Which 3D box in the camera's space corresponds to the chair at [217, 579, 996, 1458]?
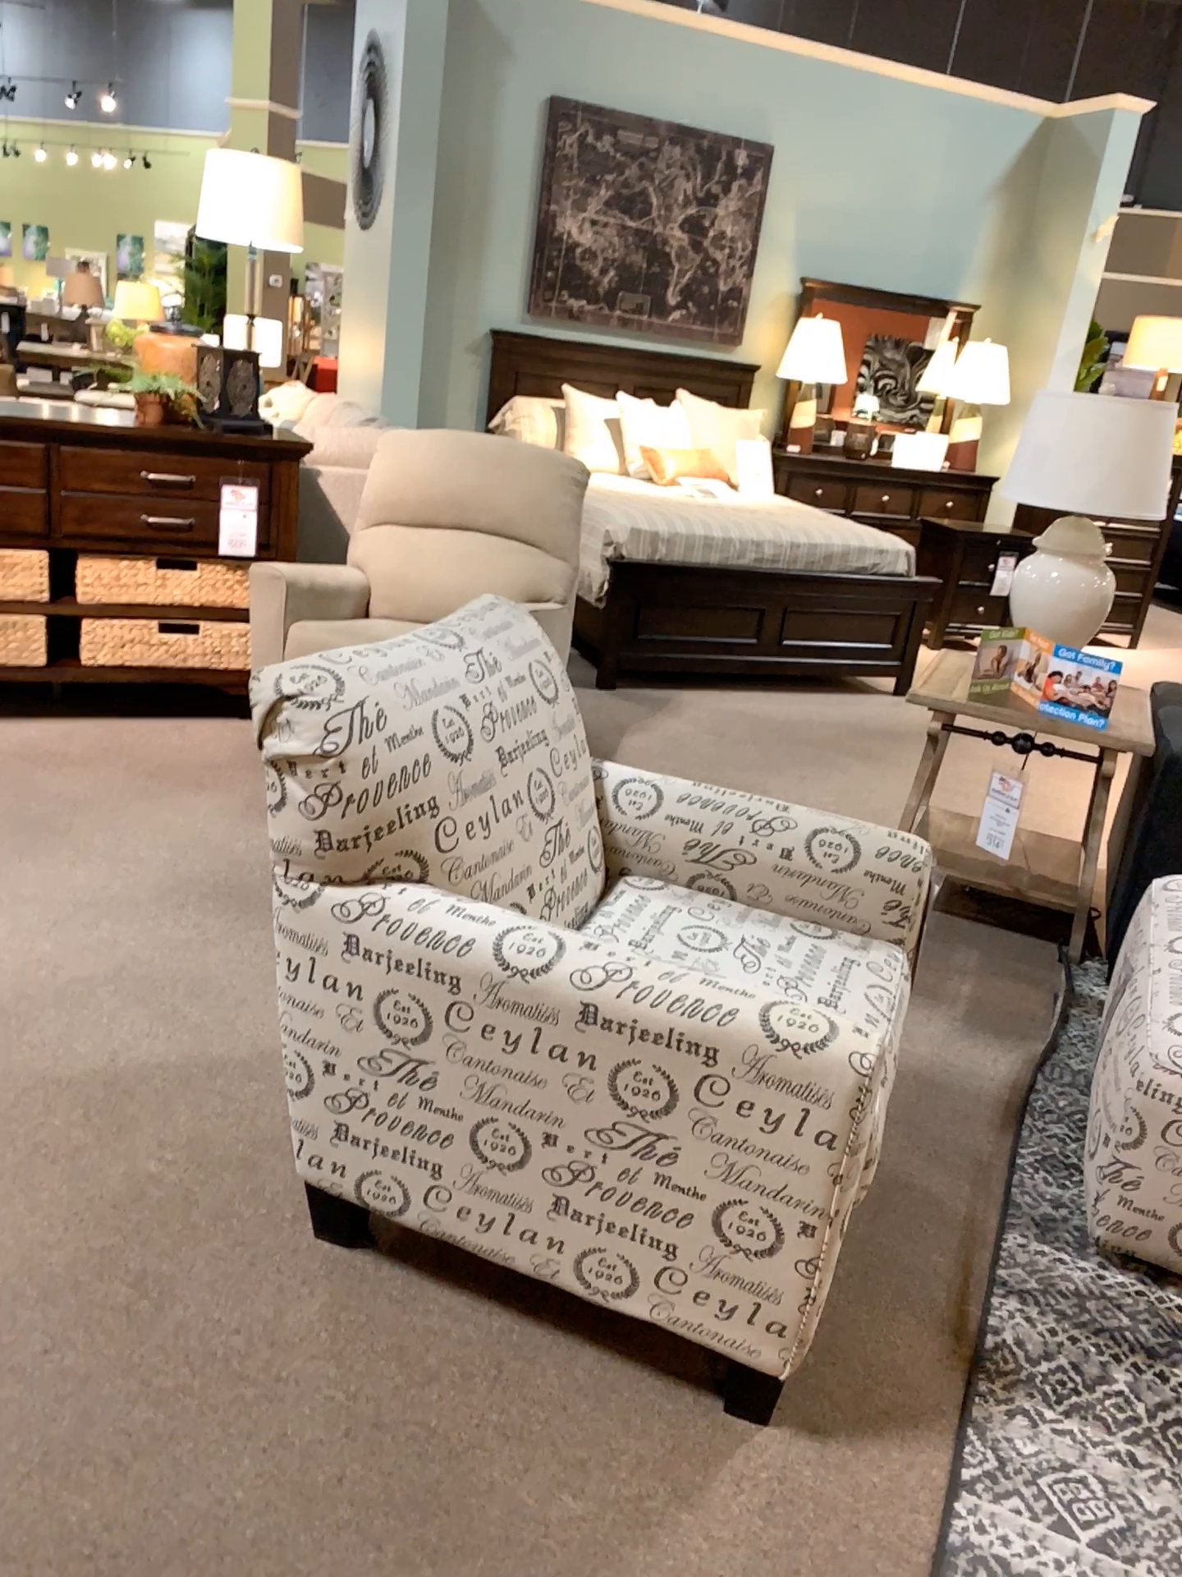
[{"bbox_3d":[0.062,0.236,1.915,0.916,0.870,0.837,14,20,15],"label":"chair"}]
